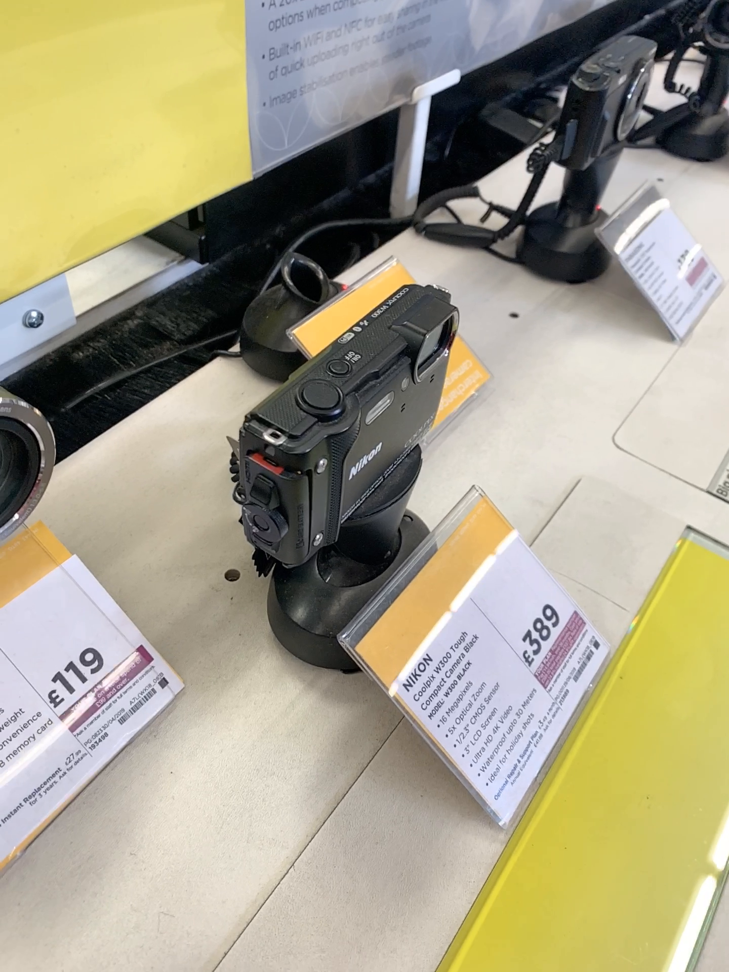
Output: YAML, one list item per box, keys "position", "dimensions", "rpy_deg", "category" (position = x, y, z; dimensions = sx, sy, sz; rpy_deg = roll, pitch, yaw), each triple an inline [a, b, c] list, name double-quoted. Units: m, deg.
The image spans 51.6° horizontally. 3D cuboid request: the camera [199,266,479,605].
- position: [-0.006, -0.023, 0.284]
  dimensions: [0.030, 0.069, 0.121]
  rpy_deg: [30, 51, 20]
  category: "camera"
